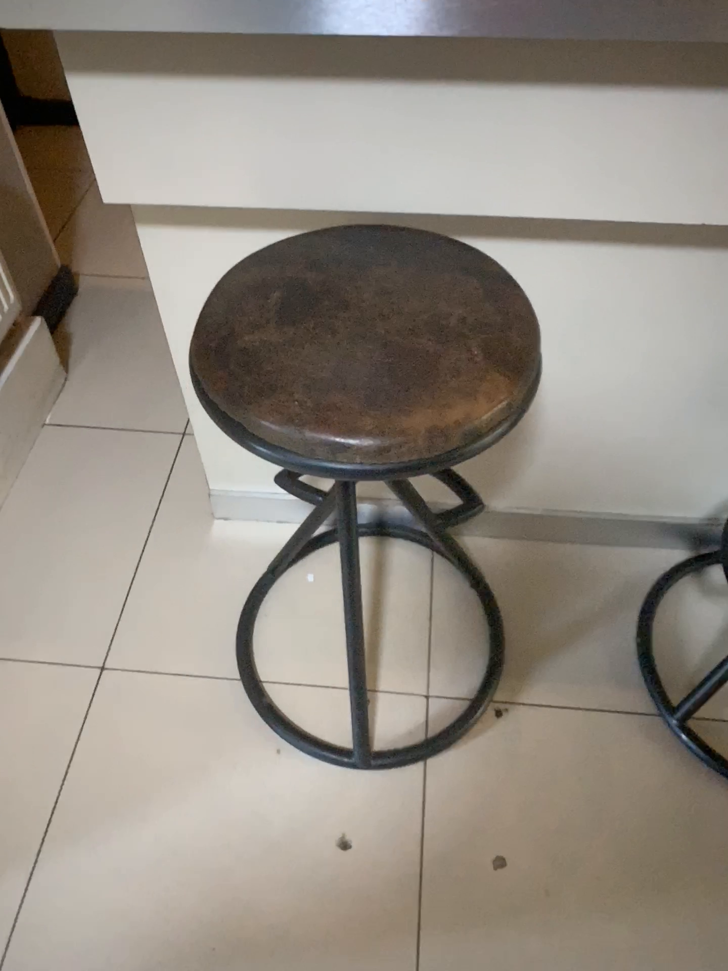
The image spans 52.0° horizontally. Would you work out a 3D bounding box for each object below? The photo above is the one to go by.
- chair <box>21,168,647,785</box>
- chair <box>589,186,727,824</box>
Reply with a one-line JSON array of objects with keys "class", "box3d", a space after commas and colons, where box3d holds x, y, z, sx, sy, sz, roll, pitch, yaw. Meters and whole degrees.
[{"class": "chair", "box3d": [-0.010, 0.020, 1.107, 0.549, 0.727, 0.550, 3, 49, 3]}, {"class": "chair", "box3d": [0.707, 0.065, 1.045, 0.549, 0.727, 0.530, 3, 49, 3]}]
